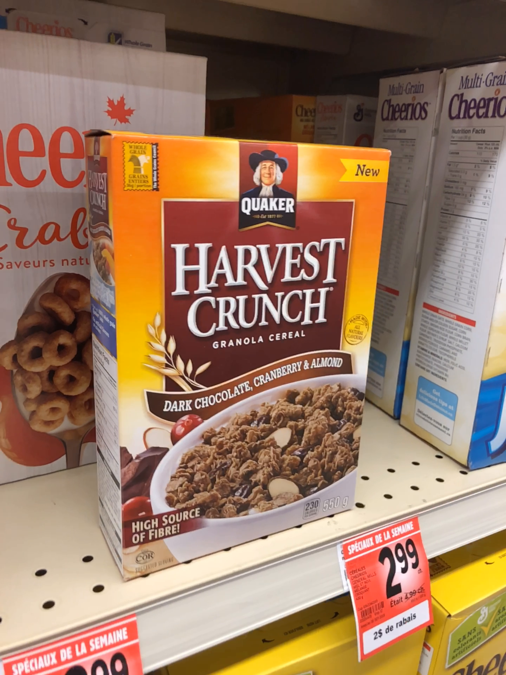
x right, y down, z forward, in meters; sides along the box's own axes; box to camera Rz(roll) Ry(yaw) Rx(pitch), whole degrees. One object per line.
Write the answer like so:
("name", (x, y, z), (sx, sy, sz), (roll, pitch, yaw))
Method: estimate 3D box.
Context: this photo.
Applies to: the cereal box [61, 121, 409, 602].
("cereal box", (-0.010, 0.008, 0.325), (0.170, 0.239, 0.060), (-7, 20, -27))
